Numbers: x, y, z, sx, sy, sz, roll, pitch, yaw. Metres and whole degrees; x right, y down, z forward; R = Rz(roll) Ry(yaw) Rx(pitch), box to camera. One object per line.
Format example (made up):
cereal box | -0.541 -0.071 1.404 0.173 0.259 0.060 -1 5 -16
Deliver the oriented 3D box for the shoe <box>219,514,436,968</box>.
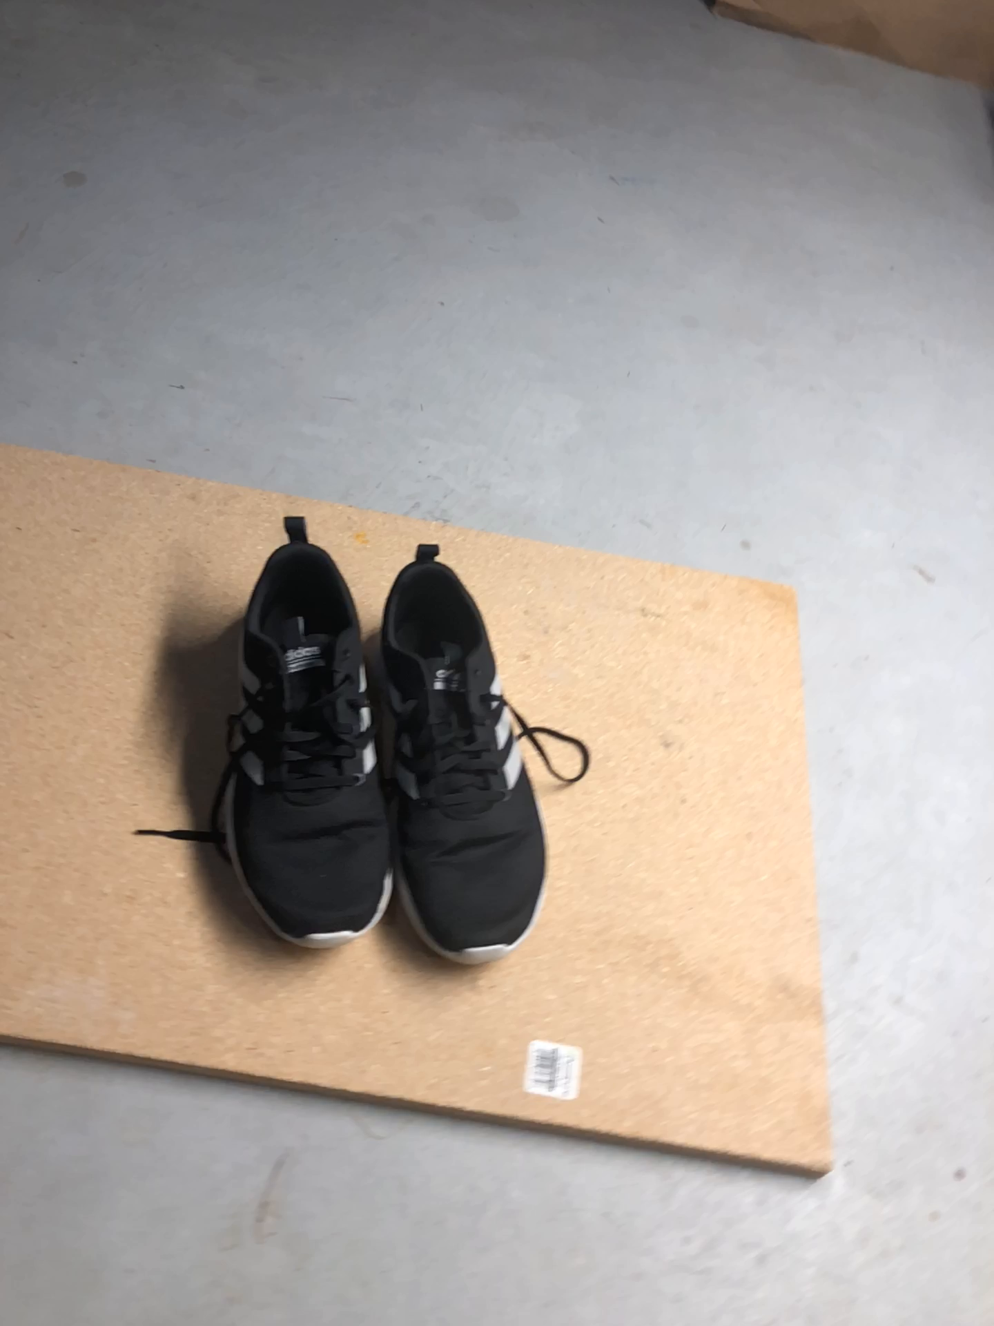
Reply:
shoe | -0.126 0.041 0.744 0.110 0.090 0.300 1 53 -18

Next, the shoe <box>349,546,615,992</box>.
shoe | -0.023 0.061 0.764 0.110 0.090 0.300 -1 53 -19
